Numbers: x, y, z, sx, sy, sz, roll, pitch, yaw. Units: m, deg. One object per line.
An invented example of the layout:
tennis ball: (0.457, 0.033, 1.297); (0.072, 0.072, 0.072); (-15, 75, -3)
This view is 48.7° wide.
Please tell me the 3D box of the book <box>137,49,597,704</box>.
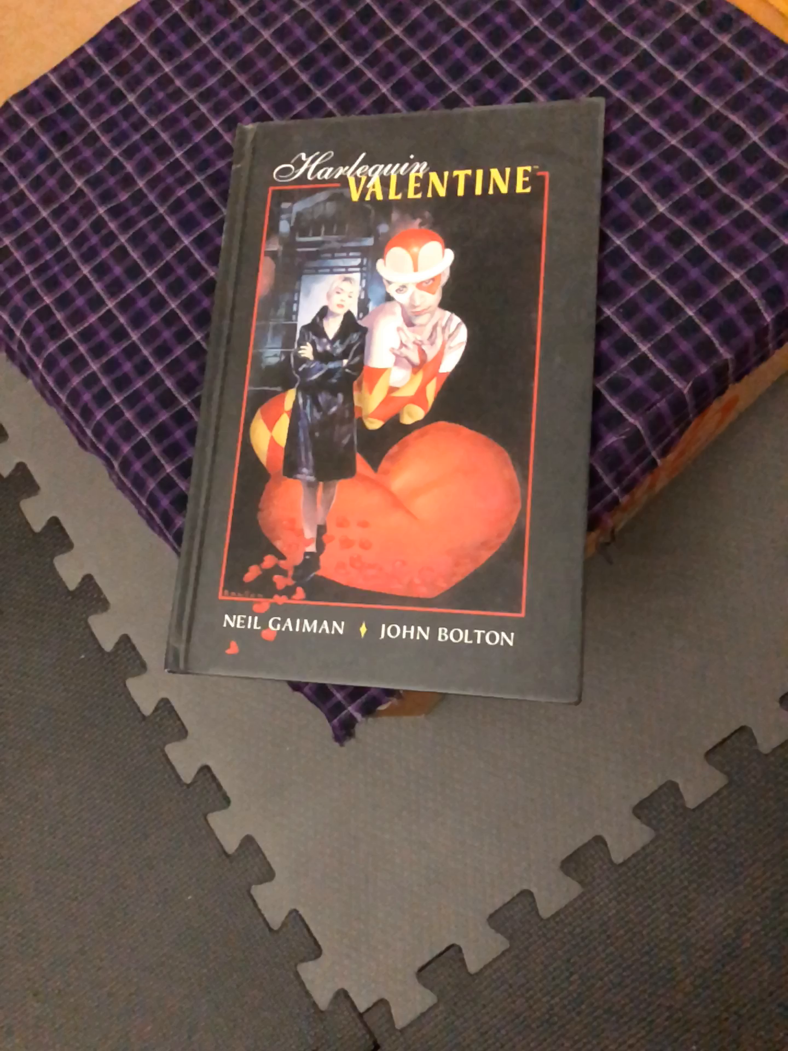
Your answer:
book: (-0.007, -0.071, 0.380); (0.180, 0.020, 0.280); (1, 77, 13)
